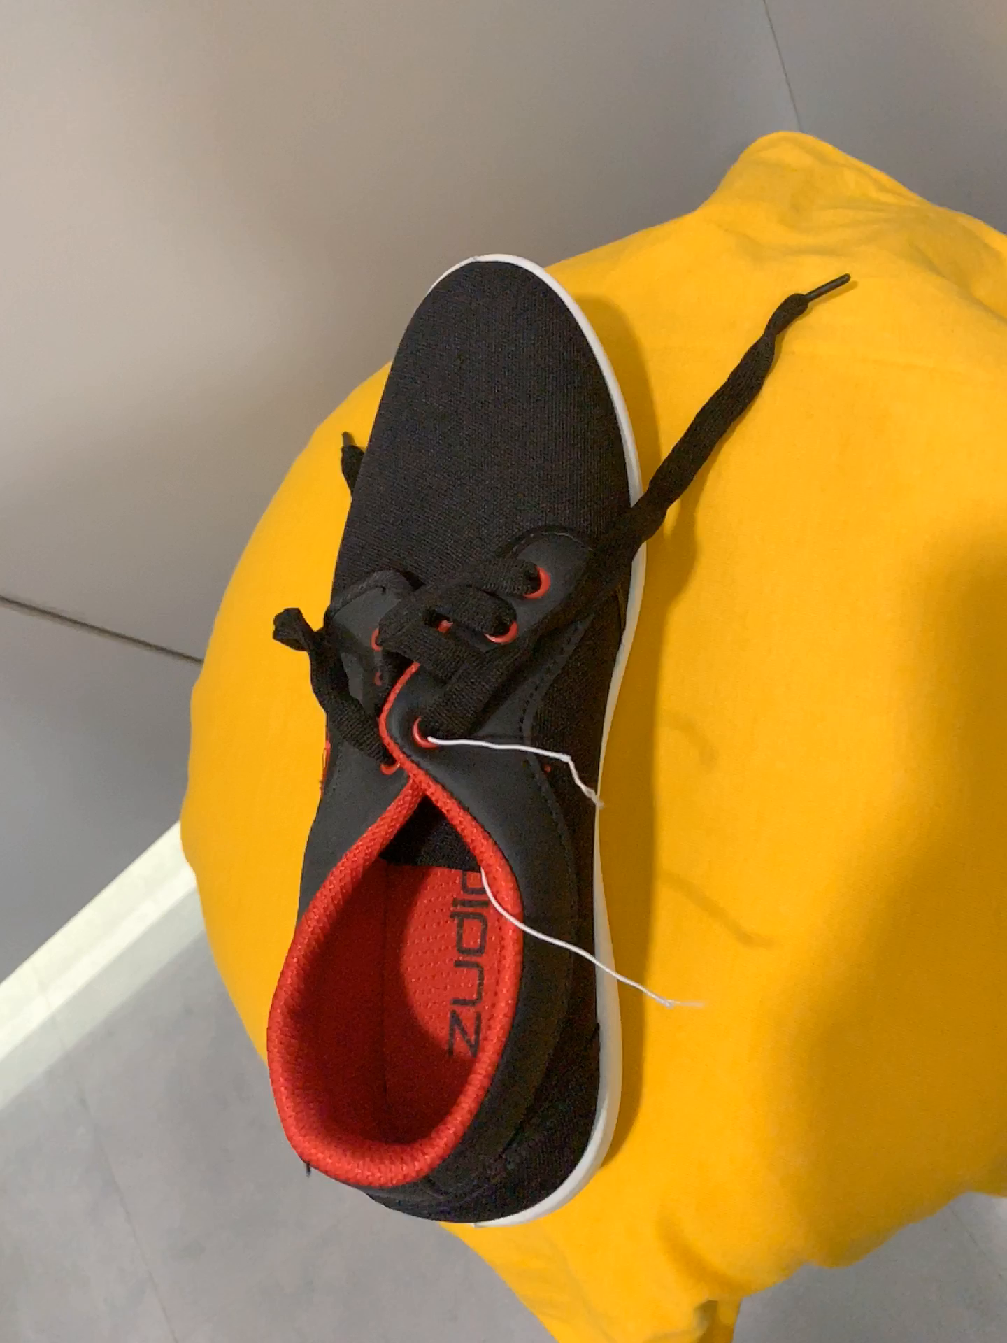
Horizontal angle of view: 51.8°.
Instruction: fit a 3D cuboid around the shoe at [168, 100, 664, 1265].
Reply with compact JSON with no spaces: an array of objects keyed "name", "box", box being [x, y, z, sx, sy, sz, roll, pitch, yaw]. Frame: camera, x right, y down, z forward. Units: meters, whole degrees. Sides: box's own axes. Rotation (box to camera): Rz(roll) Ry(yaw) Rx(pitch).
[{"name":"shoe","box":[-0.014,0.000,0.298,0.090,0.100,0.270,-5,76,26]}]
